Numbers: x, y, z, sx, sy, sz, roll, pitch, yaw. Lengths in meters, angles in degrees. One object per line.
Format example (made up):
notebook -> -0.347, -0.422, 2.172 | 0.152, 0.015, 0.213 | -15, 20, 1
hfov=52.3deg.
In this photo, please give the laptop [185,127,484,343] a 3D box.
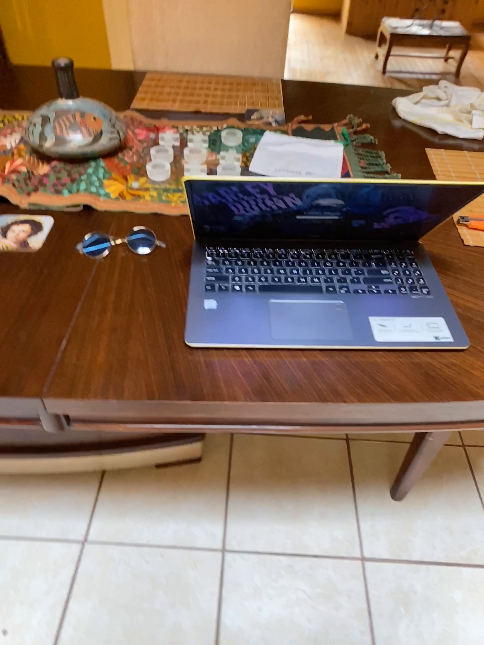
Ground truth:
laptop -> 0.122, -0.125, 0.682 | 0.376, 0.181, 0.251 | 0, 43, -3
